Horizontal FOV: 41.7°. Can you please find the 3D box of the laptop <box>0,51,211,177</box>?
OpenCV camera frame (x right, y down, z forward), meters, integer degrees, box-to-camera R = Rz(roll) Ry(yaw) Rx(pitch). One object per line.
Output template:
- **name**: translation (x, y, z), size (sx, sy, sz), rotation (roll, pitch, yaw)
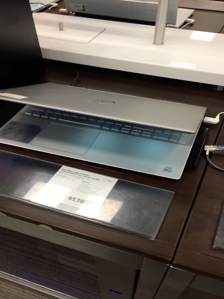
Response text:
- **laptop**: translation (-0.037, -0.089, 0.600), size (0.402, 0.108, 0.222), rotation (12, 46, 14)
